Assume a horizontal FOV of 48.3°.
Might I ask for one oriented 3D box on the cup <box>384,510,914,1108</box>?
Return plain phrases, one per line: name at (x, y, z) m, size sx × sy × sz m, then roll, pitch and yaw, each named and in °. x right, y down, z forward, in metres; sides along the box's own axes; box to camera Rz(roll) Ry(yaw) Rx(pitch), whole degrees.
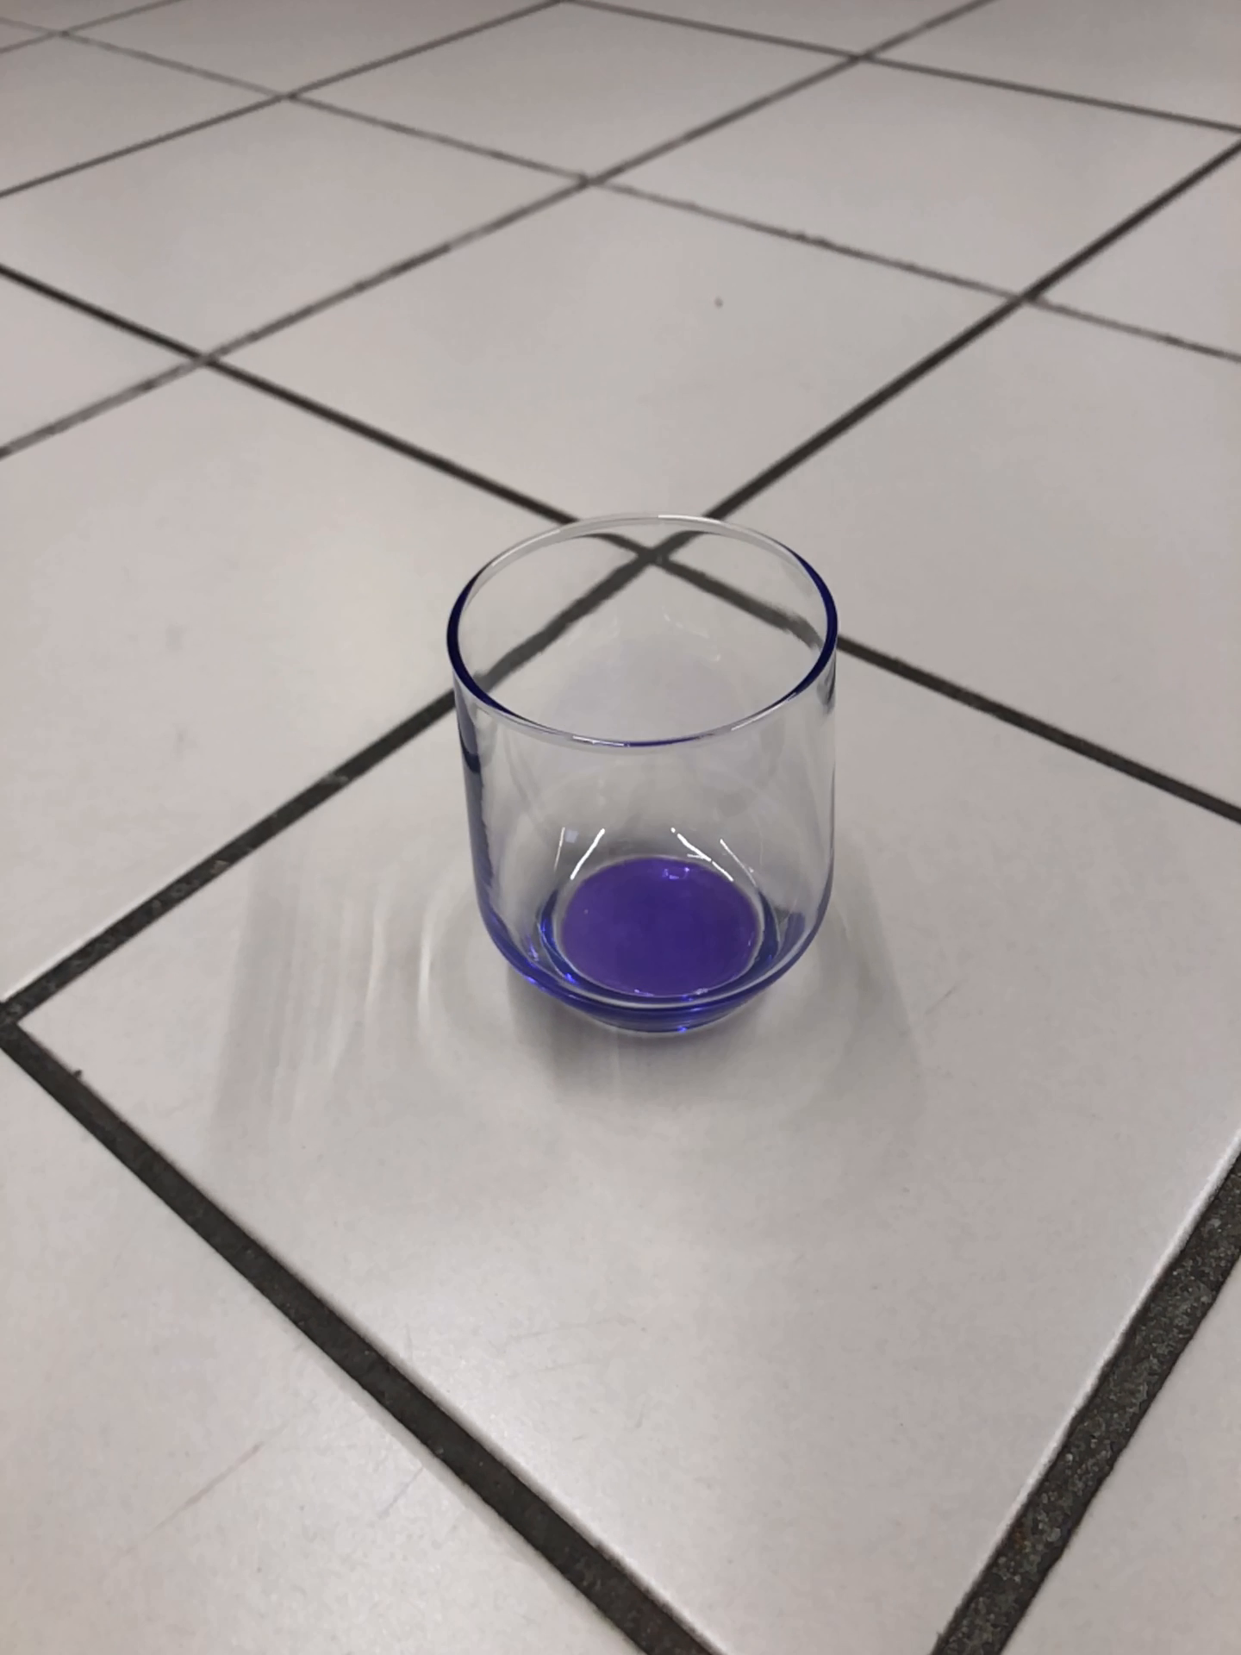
cup at (0.003, -0.005, 0.249) m, size 0.069 × 0.063 × 0.071 m, roll -2°, pitch 44°, yaw 2°
